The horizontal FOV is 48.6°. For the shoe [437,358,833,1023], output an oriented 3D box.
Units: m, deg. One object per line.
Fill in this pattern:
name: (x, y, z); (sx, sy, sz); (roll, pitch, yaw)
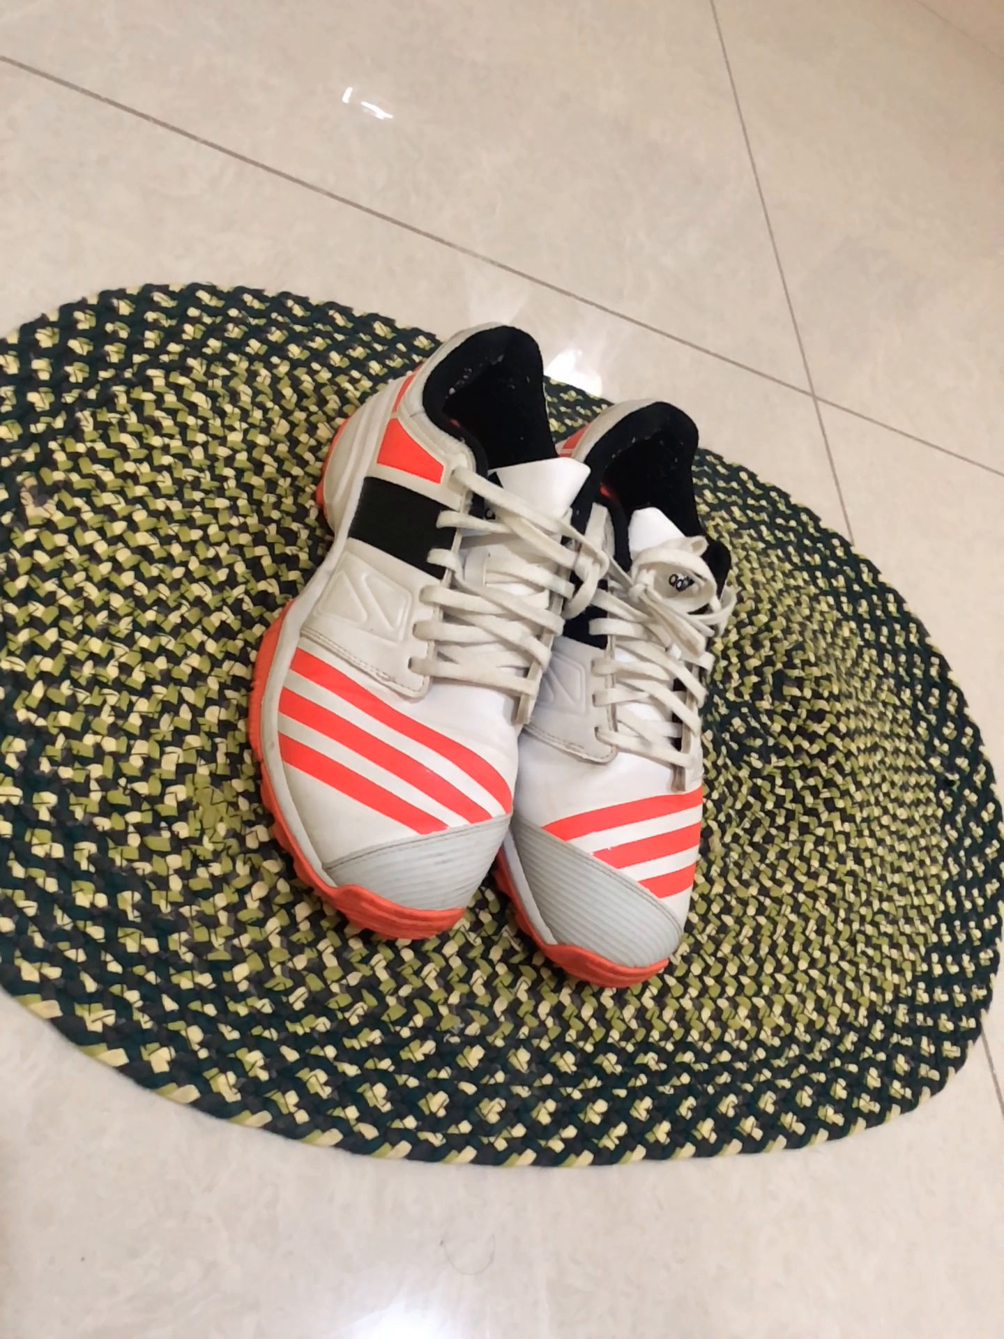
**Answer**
shoe: (0.051, 0.008, 0.482); (0.110, 0.100, 0.250); (18, 55, -25)

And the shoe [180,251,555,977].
shoe: (-0.045, -0.028, 0.454); (0.100, 0.090, 0.270); (18, 55, -25)
